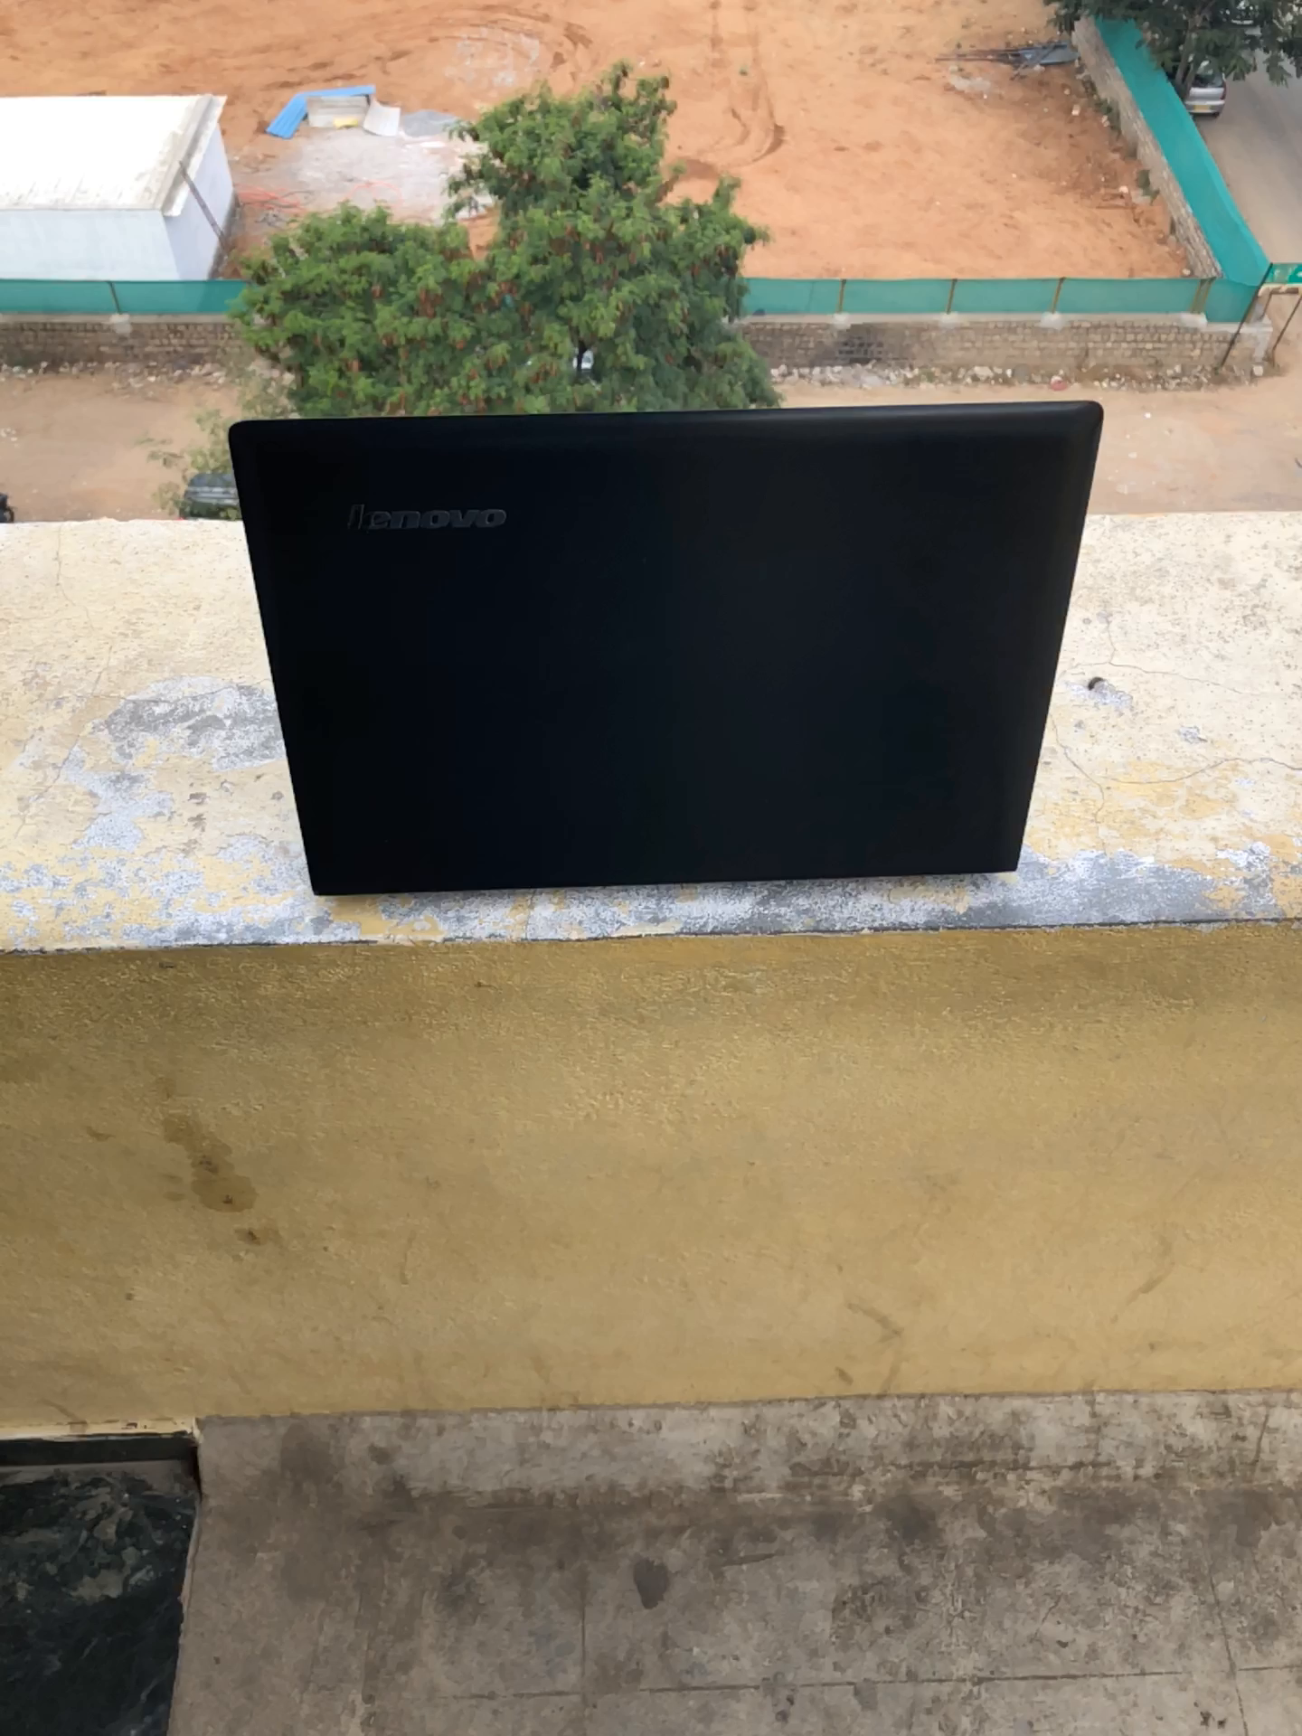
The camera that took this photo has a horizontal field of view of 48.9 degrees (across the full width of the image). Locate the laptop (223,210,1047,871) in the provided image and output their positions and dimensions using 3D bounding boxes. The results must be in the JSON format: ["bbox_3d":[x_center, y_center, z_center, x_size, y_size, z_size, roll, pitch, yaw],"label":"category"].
[{"bbox_3d":[-0.013,-0.169,0.746,0.333,0.223,0.246,-2,52,-1],"label":"laptop"}]
